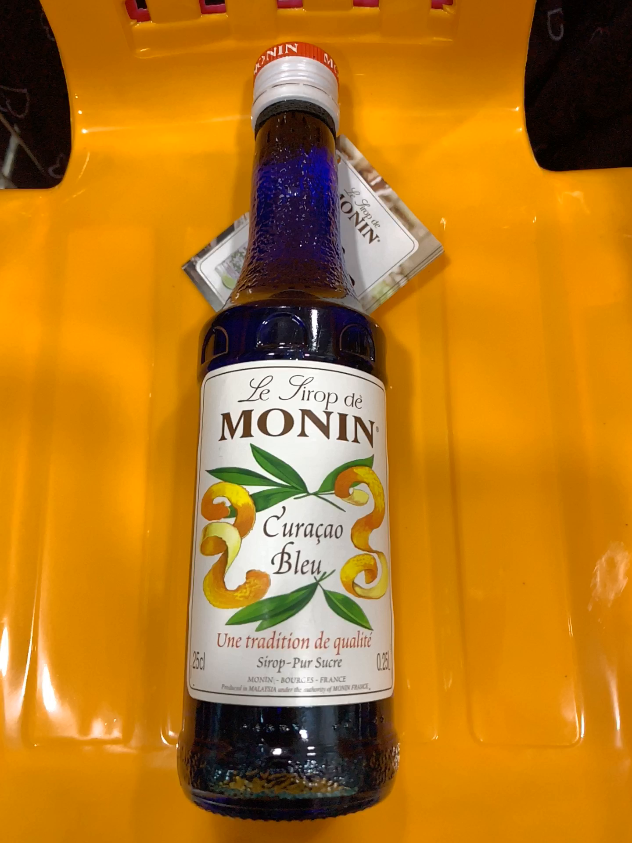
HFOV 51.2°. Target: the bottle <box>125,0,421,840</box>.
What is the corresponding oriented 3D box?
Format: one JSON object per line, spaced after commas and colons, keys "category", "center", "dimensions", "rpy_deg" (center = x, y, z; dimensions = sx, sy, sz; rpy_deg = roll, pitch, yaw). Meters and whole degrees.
{"category": "bottle", "center": [-0.008, -0.016, 0.184], "dimensions": [0.060, 0.050, 0.220], "rpy_deg": [2, 76, -4]}
